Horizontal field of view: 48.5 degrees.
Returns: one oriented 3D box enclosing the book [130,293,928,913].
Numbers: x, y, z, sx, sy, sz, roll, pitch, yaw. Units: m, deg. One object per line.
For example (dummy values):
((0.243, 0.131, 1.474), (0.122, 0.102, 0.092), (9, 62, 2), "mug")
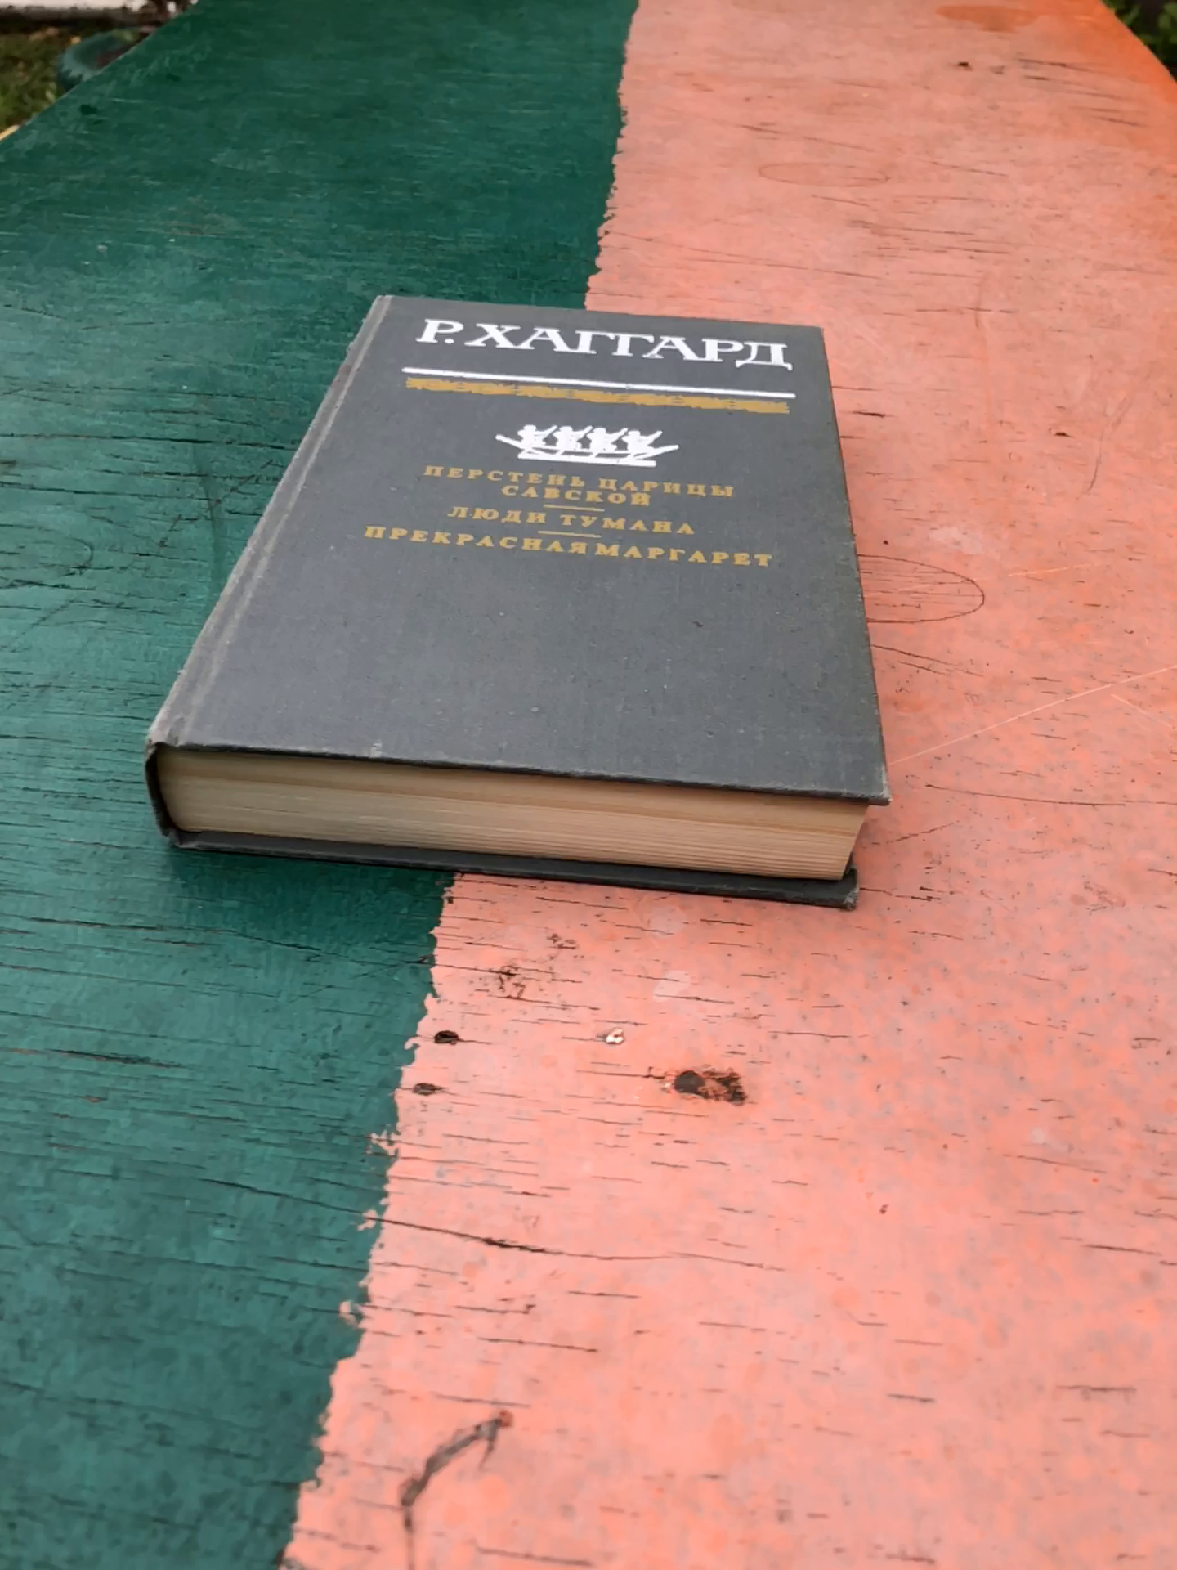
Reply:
((-0.003, -0.065, 0.337), (0.150, 0.030, 0.222), (5, 42, 2), "book")
